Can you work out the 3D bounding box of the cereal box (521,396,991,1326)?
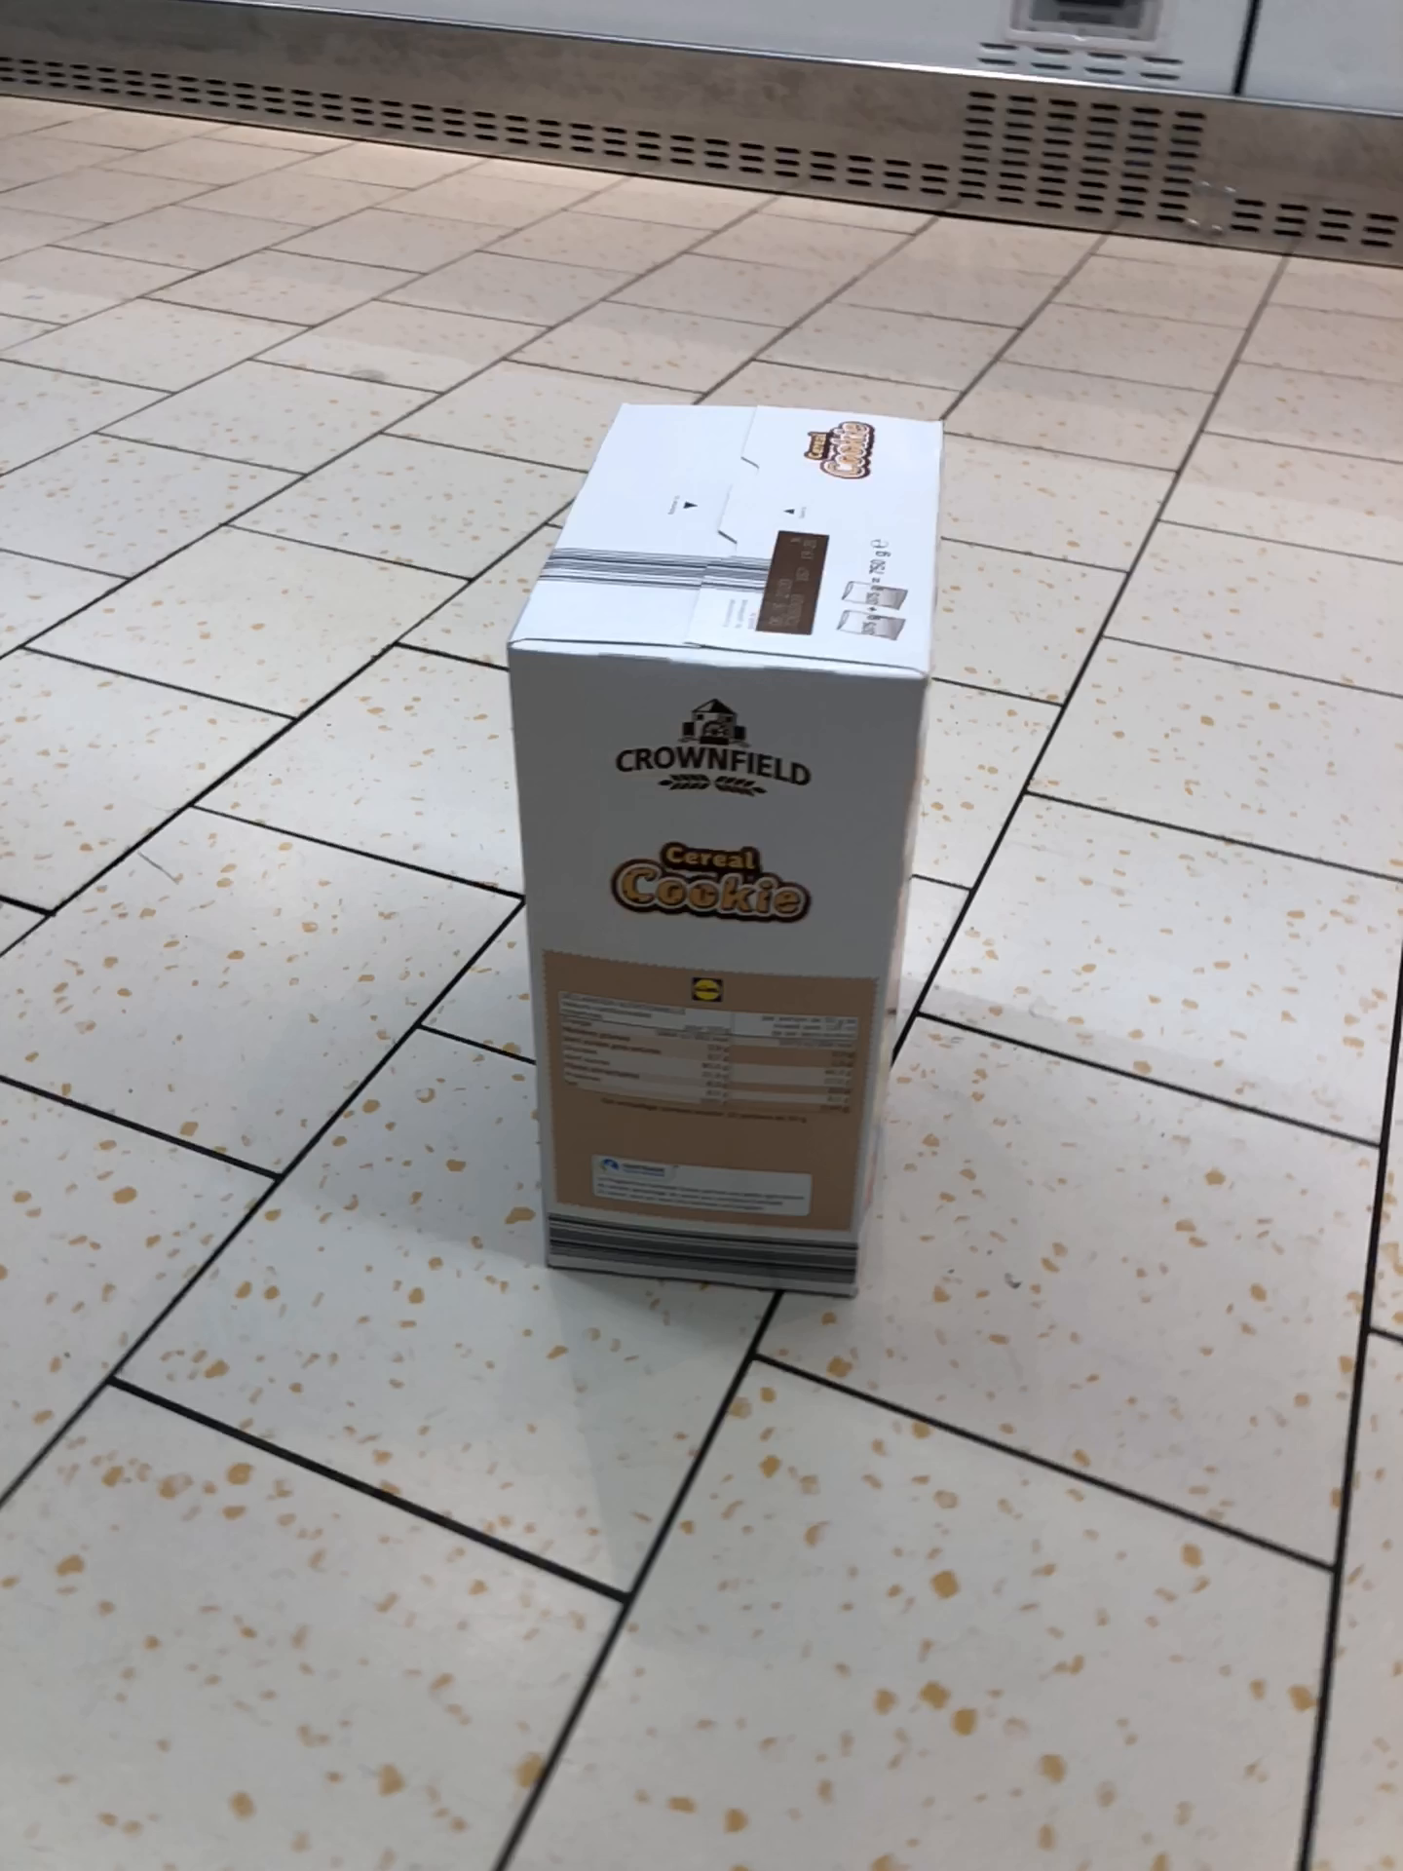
[{"bbox_3d":[0.024,-0.029,0.545,0.120,0.248,0.201,5,38,5],"label":"cereal box"}]
